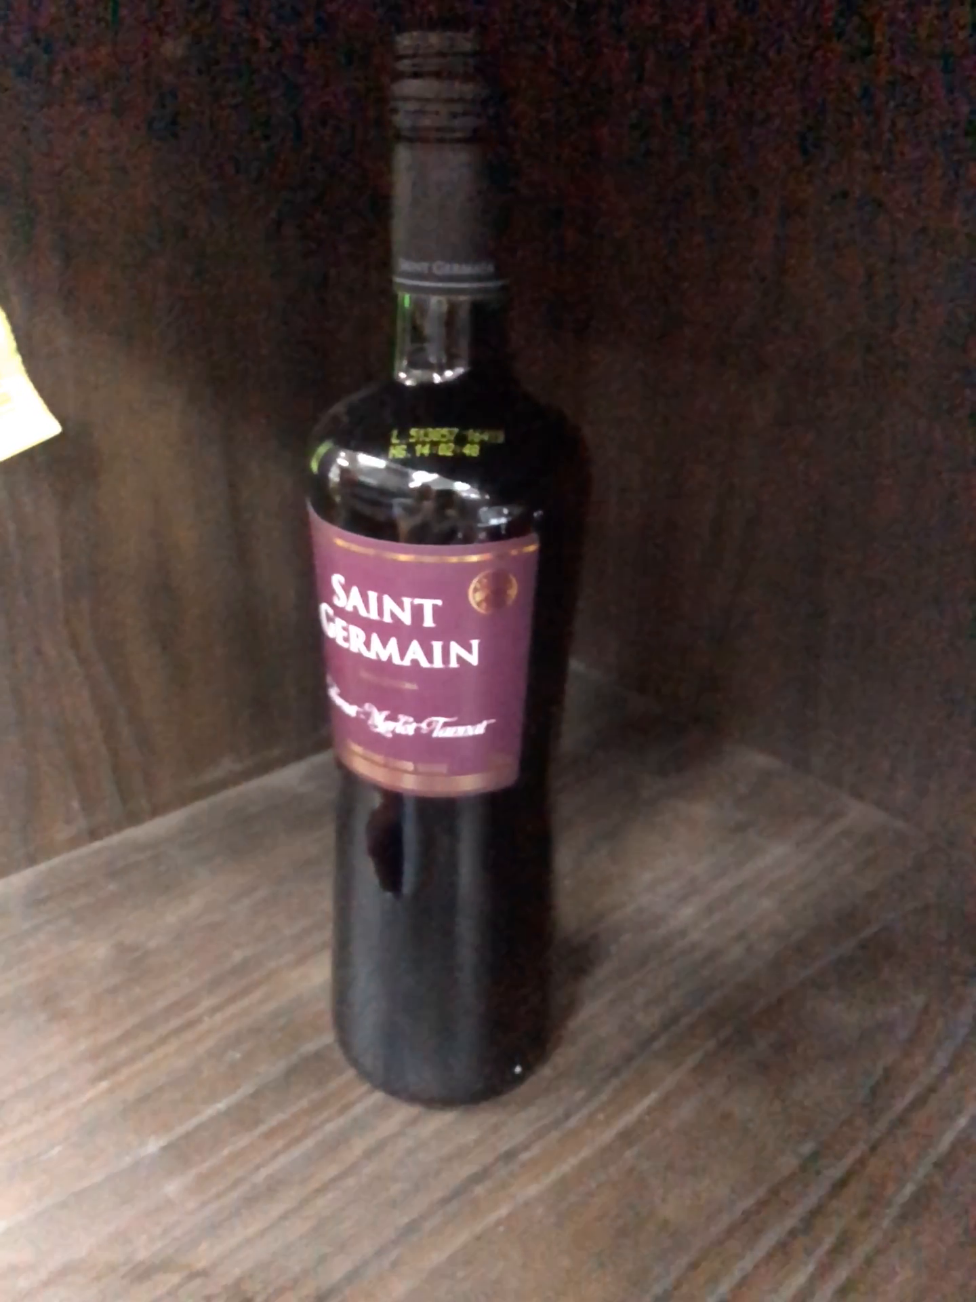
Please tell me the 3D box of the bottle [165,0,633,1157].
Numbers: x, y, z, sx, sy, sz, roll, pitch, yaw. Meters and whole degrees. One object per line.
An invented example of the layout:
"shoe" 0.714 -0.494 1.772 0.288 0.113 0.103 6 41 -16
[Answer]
"bottle" -0.017 -0.007 0.303 0.080 0.308 0.070 9 27 17
